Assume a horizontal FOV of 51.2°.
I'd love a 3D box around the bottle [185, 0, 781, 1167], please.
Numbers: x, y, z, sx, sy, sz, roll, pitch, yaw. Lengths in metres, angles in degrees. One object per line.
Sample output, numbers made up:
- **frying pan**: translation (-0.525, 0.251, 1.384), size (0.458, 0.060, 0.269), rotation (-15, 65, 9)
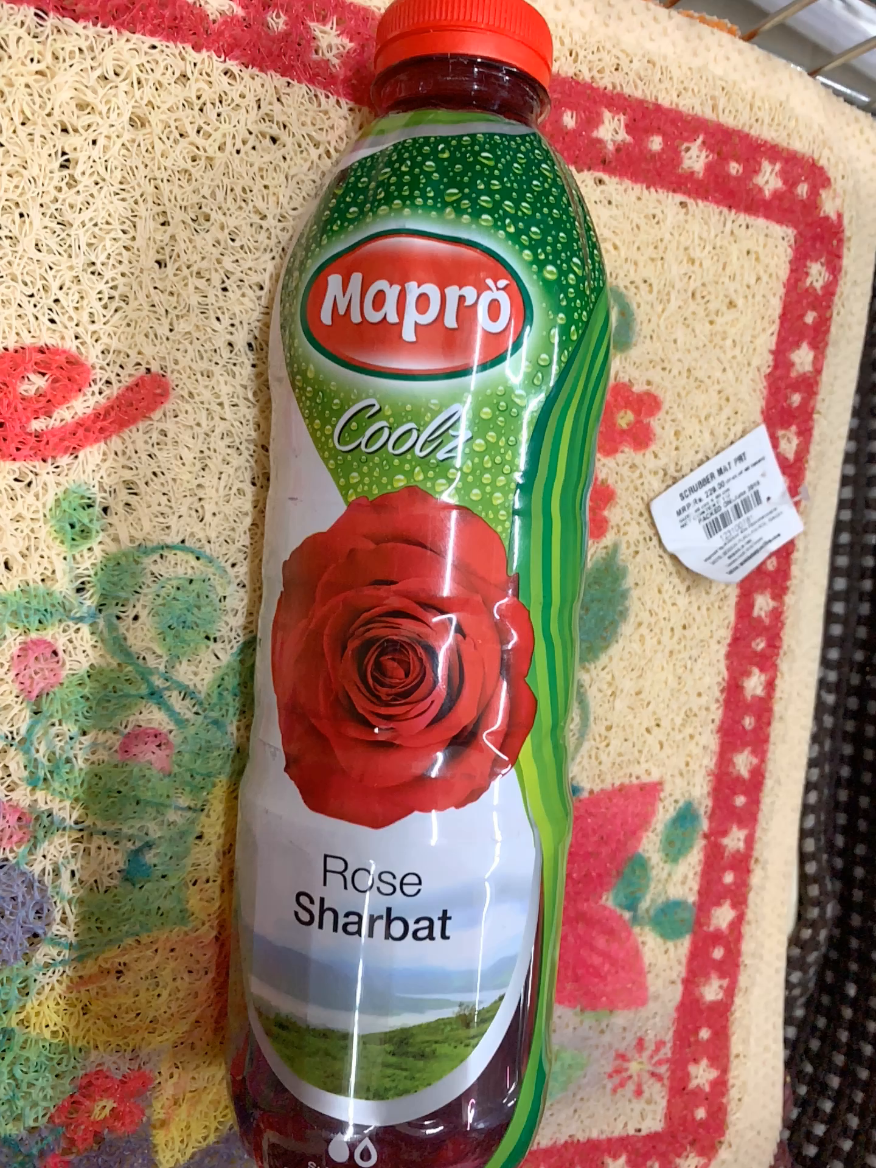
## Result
- **bottle**: translation (0.004, -0.005, 0.195), size (0.080, 0.080, 0.250), rotation (5, 96, 1)
